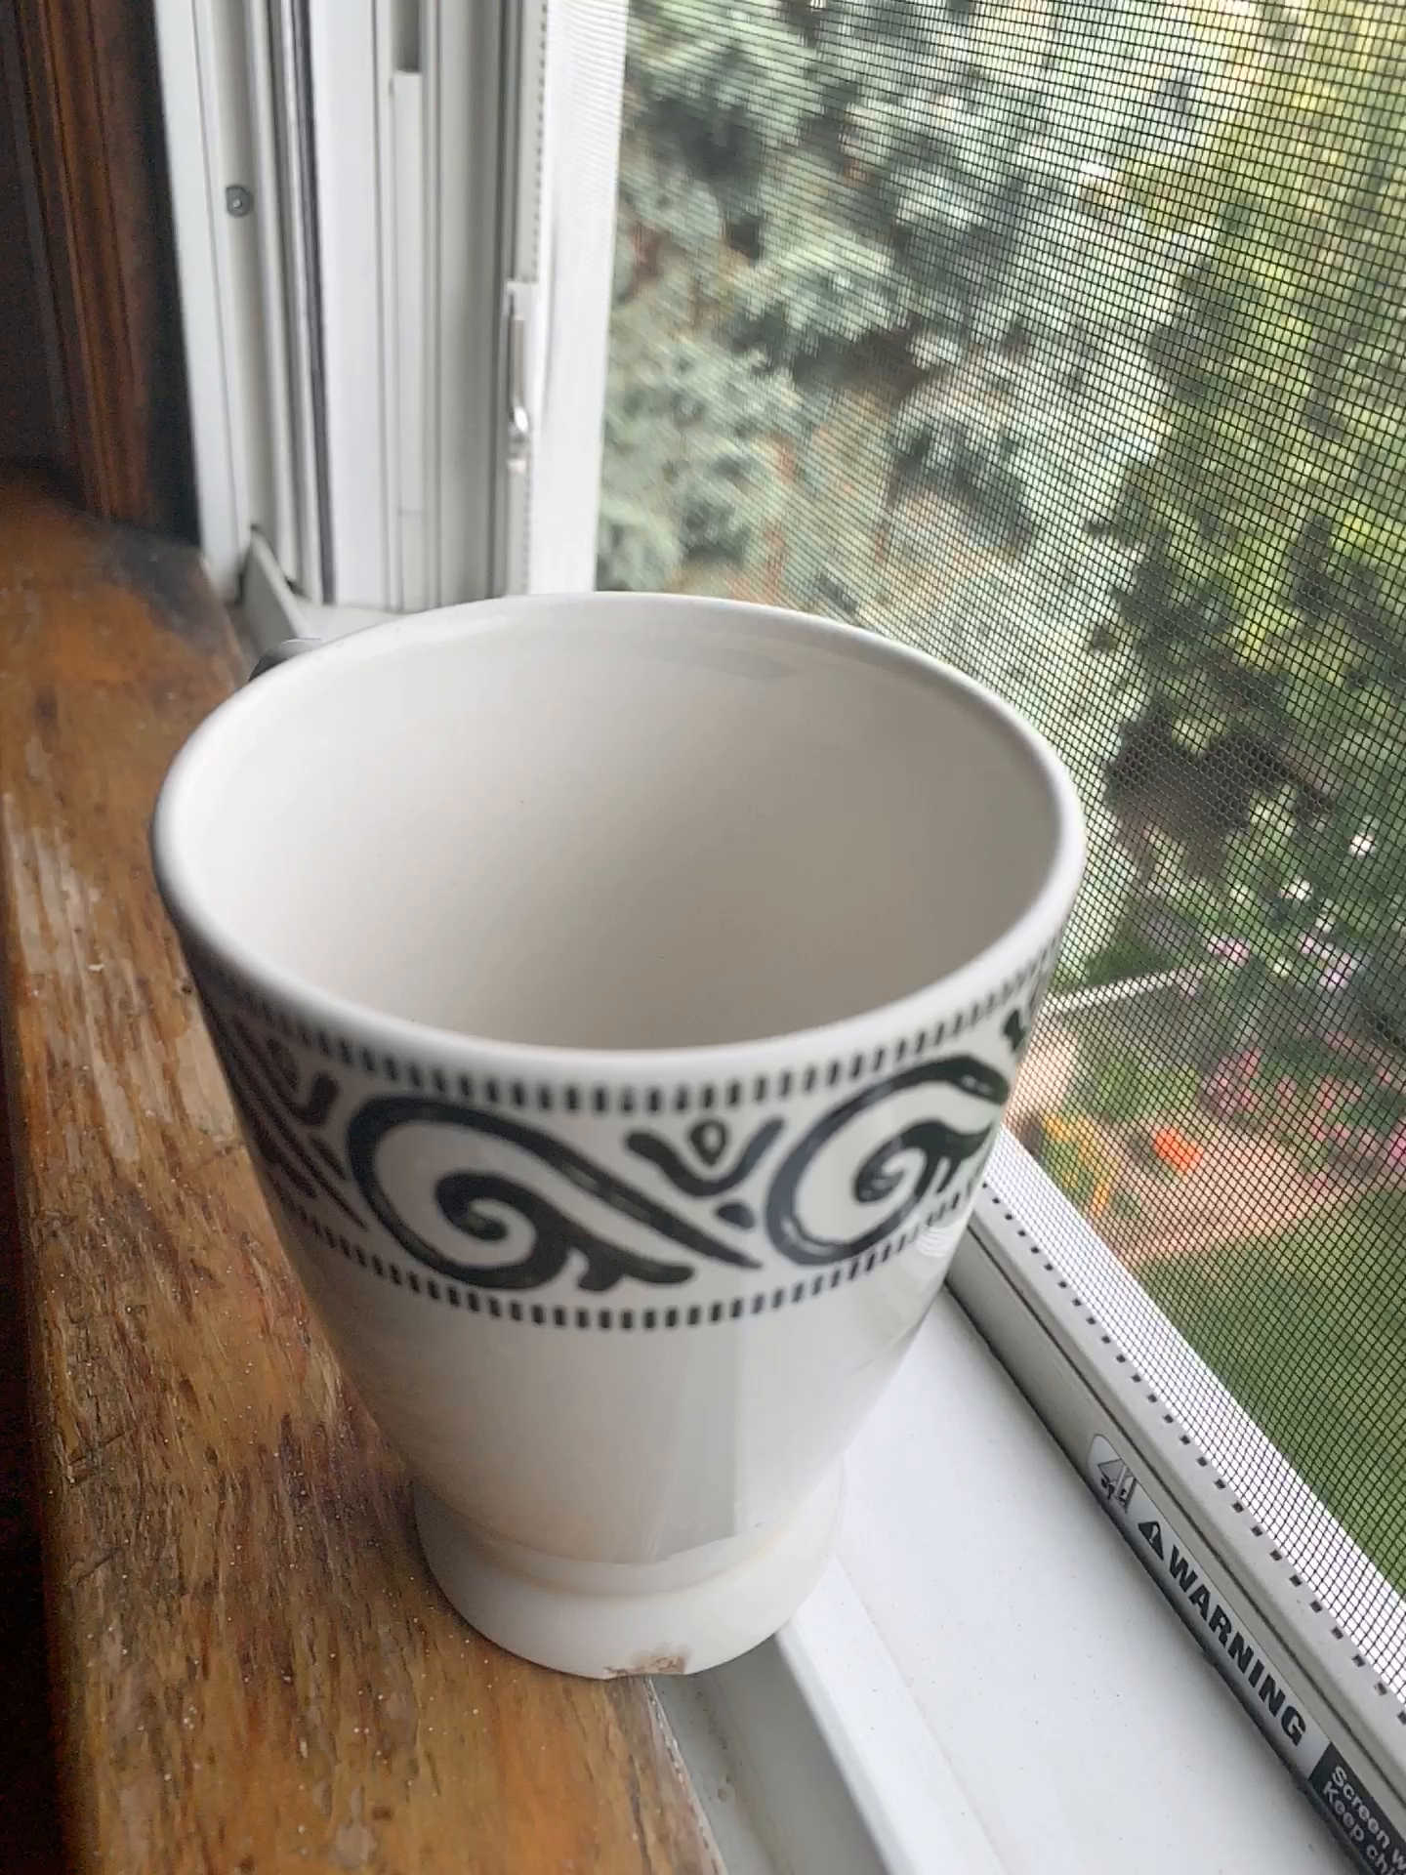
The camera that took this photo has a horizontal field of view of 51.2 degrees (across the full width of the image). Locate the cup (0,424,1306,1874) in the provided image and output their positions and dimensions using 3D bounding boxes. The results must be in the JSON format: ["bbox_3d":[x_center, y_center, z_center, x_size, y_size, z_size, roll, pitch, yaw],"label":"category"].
[{"bbox_3d":[-0.026,0.013,0.162,0.080,0.089,0.131,-24,45,-33],"label":"cup"}]
